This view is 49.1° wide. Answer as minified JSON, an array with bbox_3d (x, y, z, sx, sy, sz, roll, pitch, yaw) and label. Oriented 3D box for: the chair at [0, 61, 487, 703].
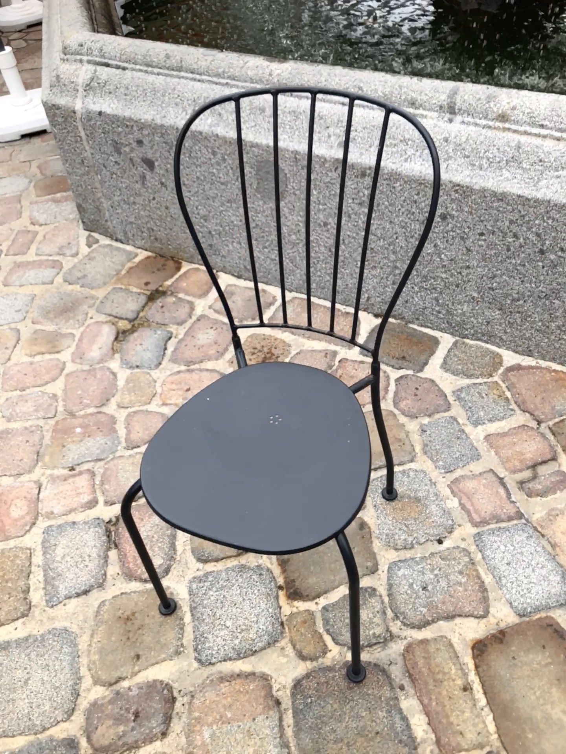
[{"bbox_3d":[-0.007,0.042,0.931,0.420,0.796,0.473,12,47,17],"label":"chair"}]
